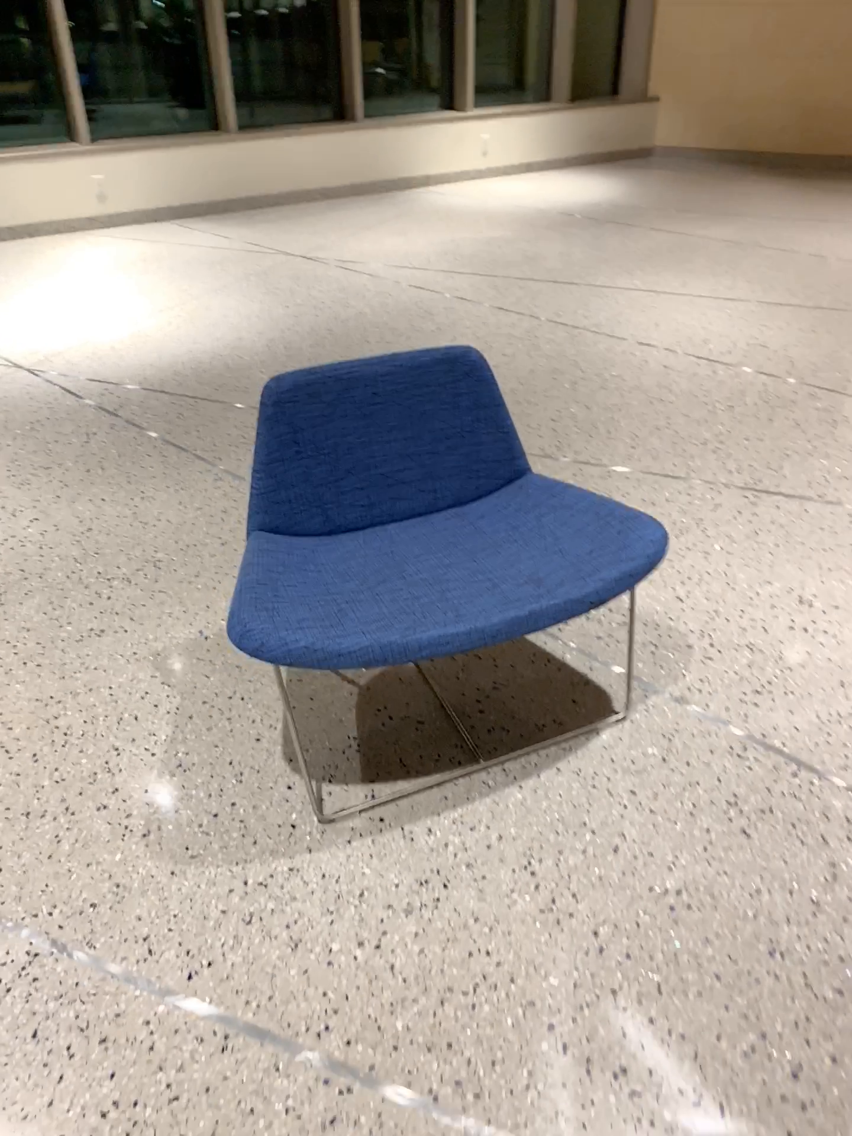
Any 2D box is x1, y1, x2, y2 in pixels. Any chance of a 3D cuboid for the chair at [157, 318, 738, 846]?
[{"bbox_3d":[0.013,-0.040,1.884,0.943,0.698,0.666,-14,35,-20],"label":"chair"}]
